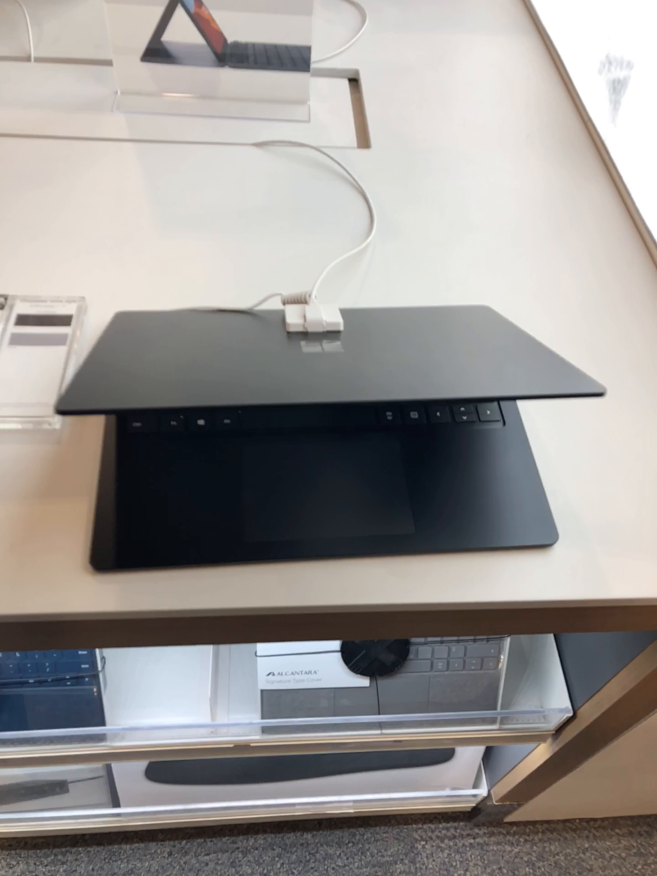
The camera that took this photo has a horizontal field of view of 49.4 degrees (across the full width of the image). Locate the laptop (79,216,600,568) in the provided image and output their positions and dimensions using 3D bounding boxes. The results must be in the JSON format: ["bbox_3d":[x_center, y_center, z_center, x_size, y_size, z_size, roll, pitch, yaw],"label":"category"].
[{"bbox_3d":[0.004,-0.037,0.464,0.284,0.086,0.191,-2,60,-8],"label":"laptop"}]
